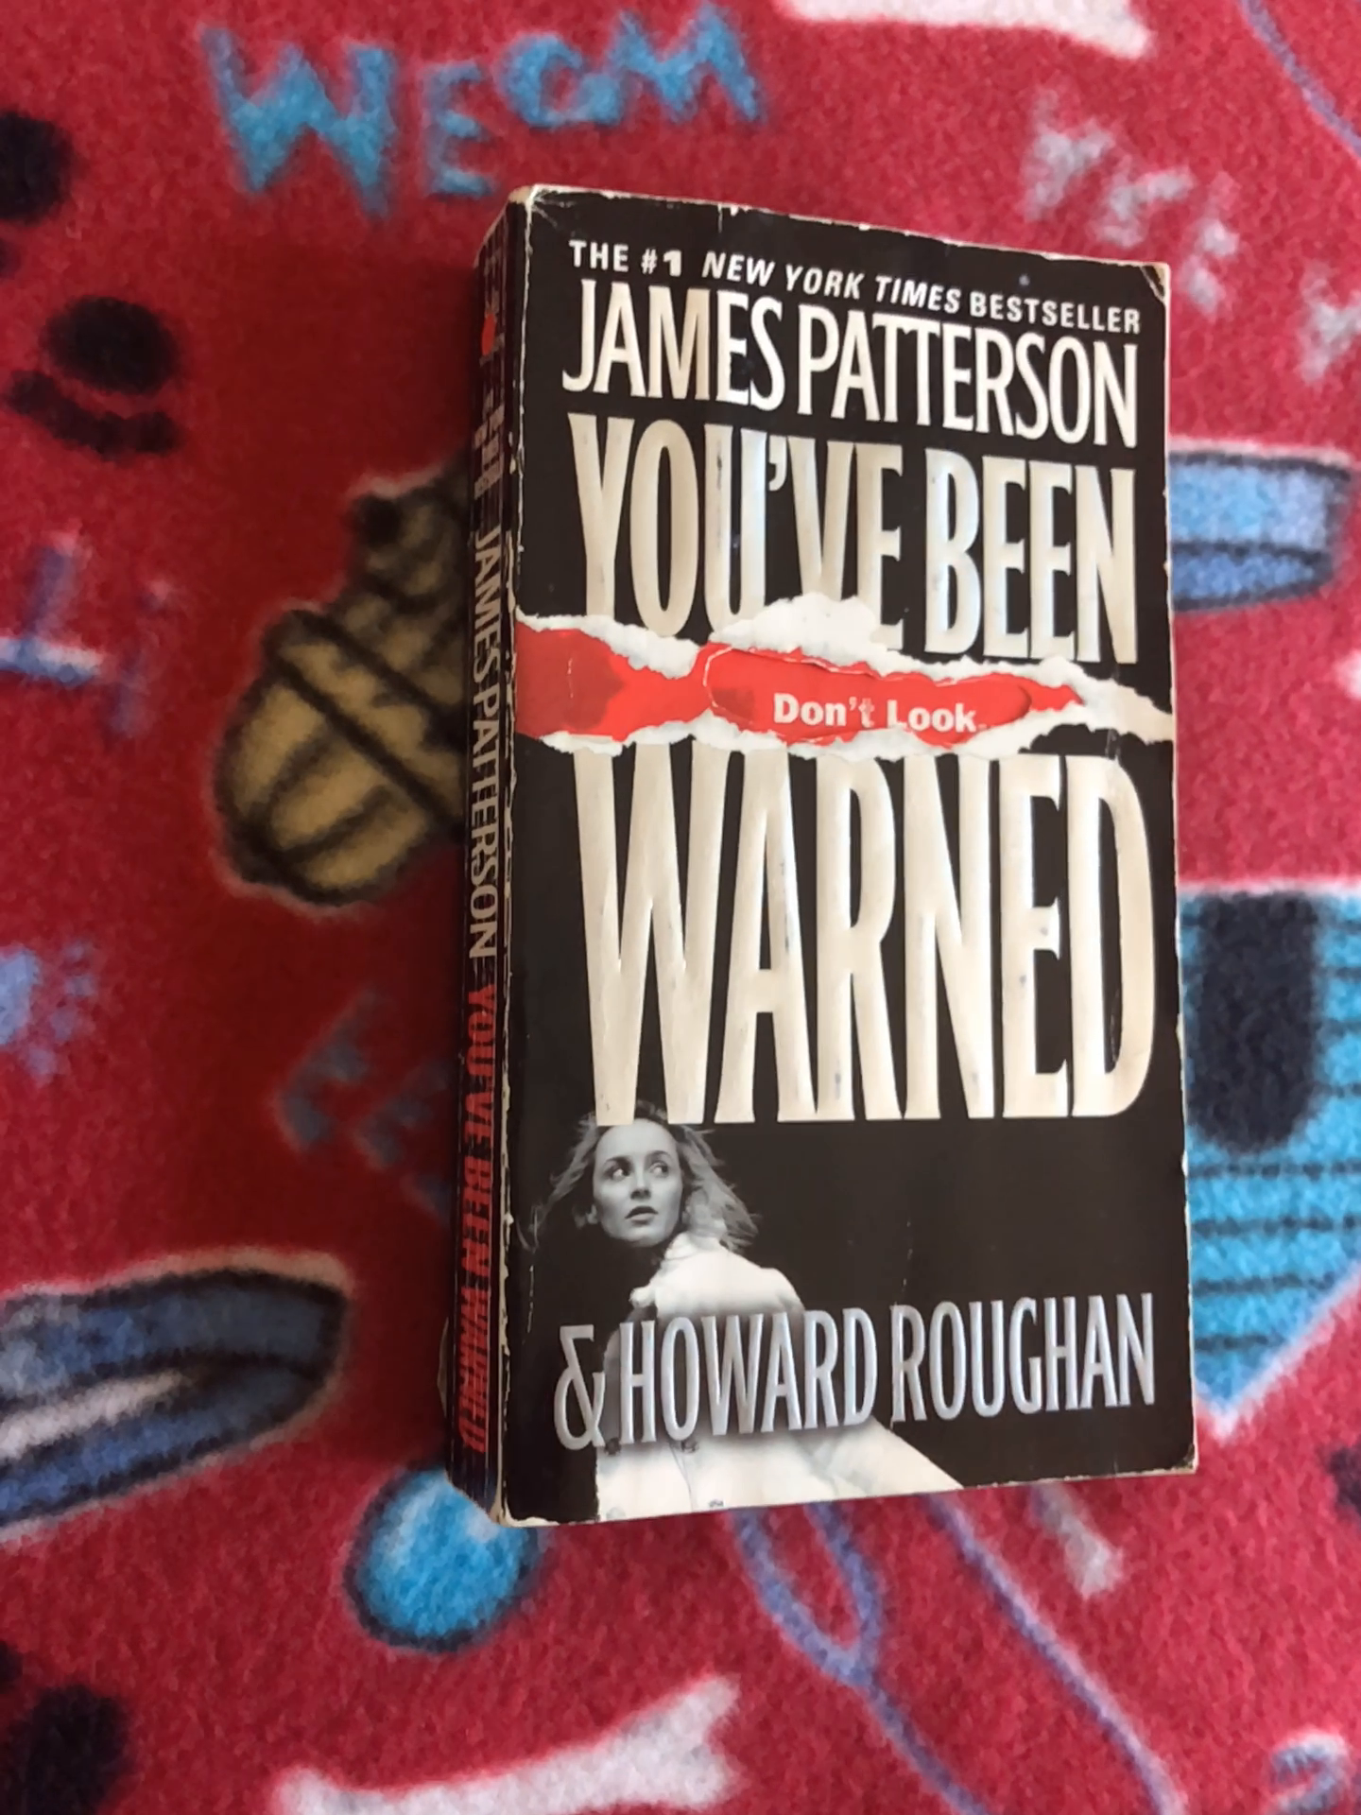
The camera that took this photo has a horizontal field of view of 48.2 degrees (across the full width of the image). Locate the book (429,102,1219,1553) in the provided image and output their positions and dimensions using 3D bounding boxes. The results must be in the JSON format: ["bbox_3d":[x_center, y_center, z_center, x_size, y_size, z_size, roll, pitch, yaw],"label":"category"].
[{"bbox_3d":[0.021,-0.010,0.233,0.110,0.040,0.190,2,89,-16],"label":"book"}]
